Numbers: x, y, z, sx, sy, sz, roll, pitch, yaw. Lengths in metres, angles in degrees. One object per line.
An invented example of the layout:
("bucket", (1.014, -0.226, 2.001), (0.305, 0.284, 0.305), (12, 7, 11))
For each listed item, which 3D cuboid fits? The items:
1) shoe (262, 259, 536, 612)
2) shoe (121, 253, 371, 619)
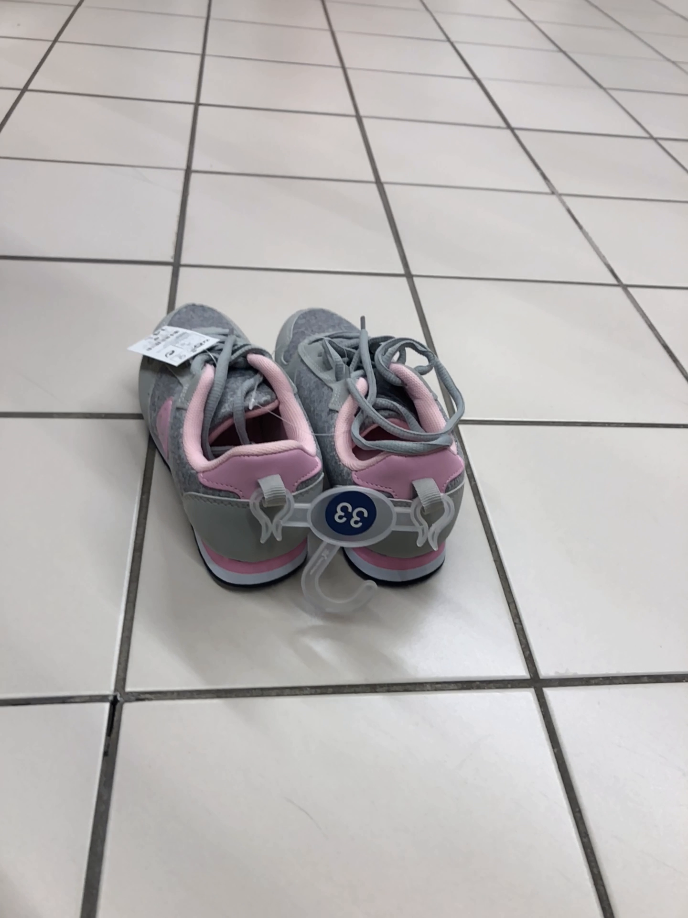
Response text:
("shoe", (0.017, -0.028, 0.453), (0.082, 0.083, 0.215), (-8, 44, -17))
("shoe", (-0.067, -0.027, 0.439), (0.082, 0.083, 0.215), (-10, 45, -19))
